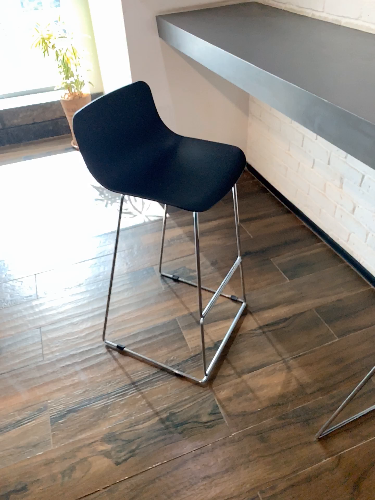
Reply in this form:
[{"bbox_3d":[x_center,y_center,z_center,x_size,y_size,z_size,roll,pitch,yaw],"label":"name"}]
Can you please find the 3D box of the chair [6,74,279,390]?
[{"bbox_3d":[-0.084,-0.073,1.380,0.591,0.862,0.544,16,43,22],"label":"chair"}]
